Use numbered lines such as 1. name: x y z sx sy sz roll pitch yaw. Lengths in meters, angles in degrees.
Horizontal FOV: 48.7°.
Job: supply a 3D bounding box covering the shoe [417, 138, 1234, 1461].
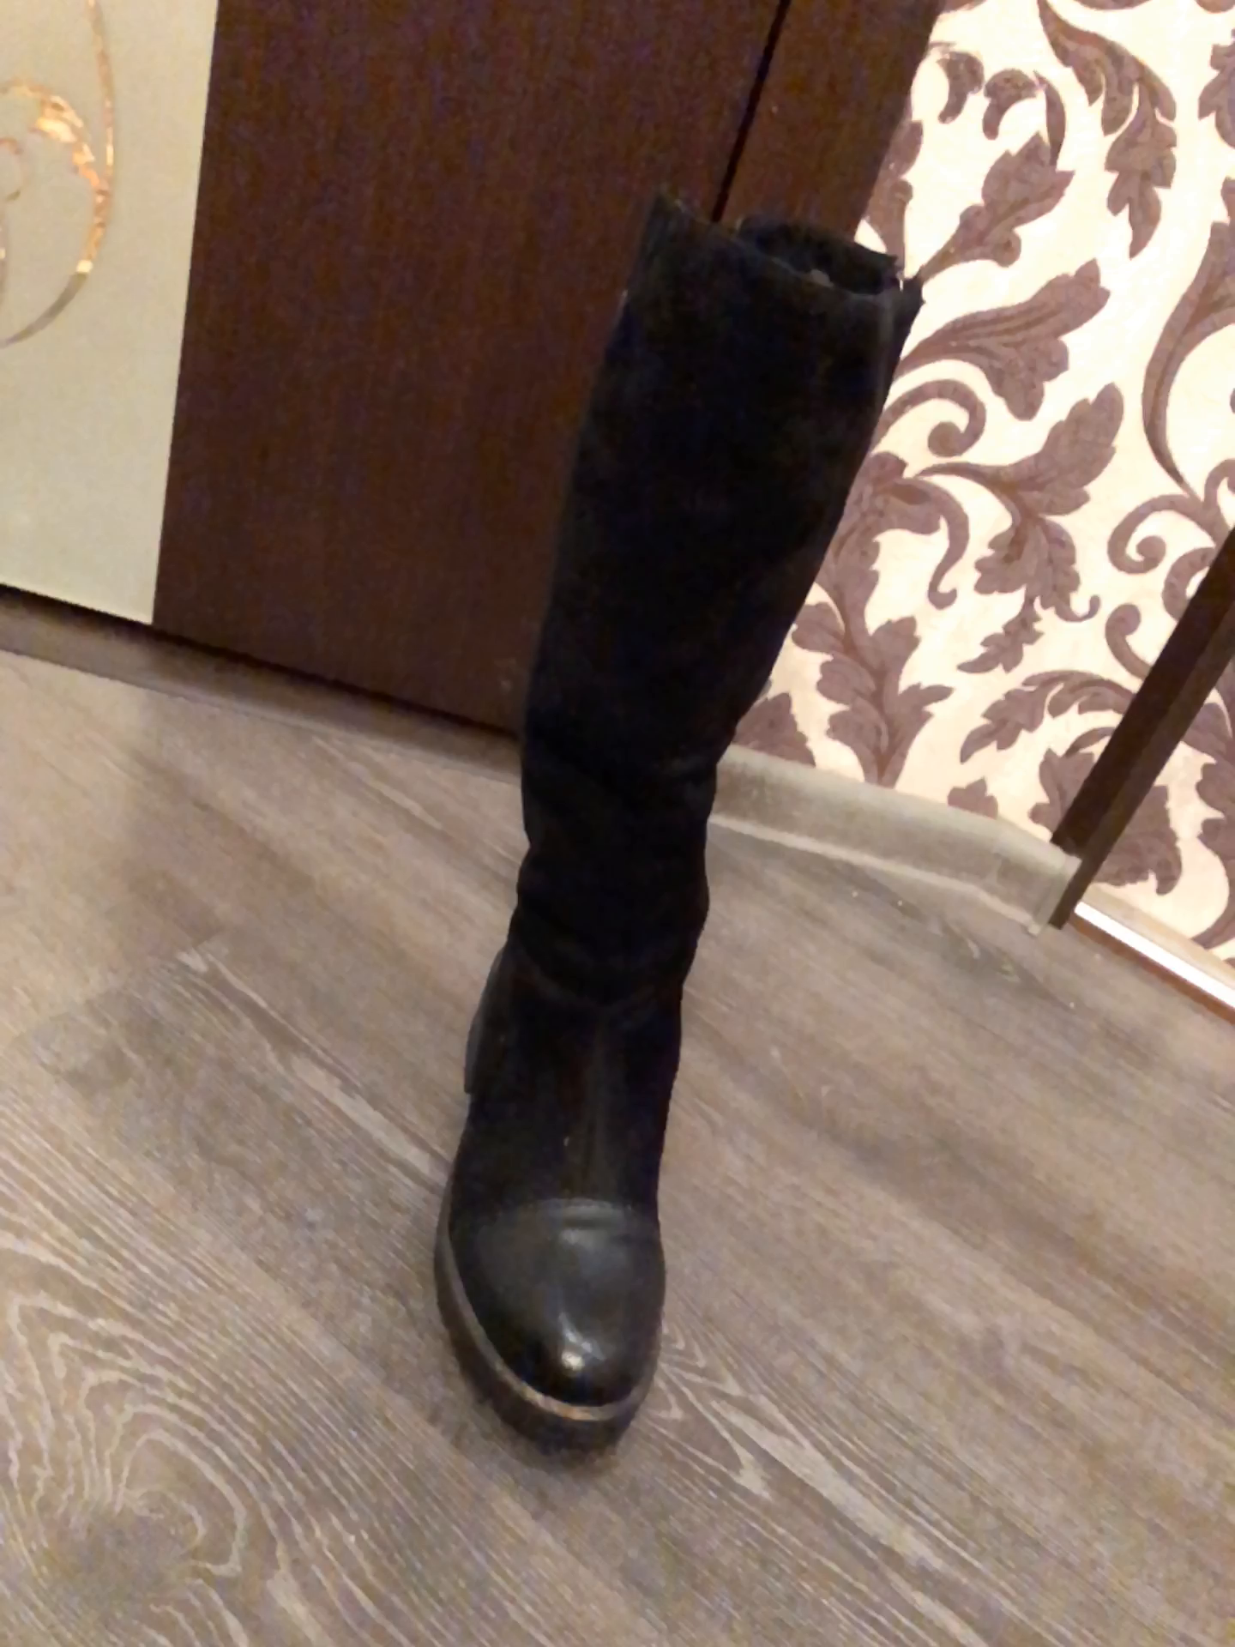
1. shoe: 0.018 0.004 0.503 0.100 0.407 0.252 9 35 -16
